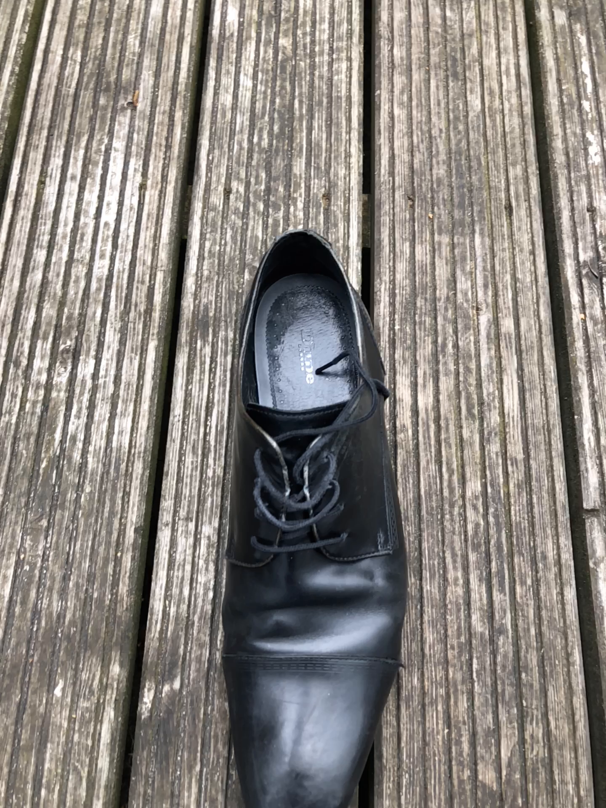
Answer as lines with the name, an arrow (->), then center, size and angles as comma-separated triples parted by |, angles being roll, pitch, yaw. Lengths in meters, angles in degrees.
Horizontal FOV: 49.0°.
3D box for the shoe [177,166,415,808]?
shoe -> -0.002, 0.057, 0.376 | 0.090, 0.150, 0.341 | 1, 72, -1
